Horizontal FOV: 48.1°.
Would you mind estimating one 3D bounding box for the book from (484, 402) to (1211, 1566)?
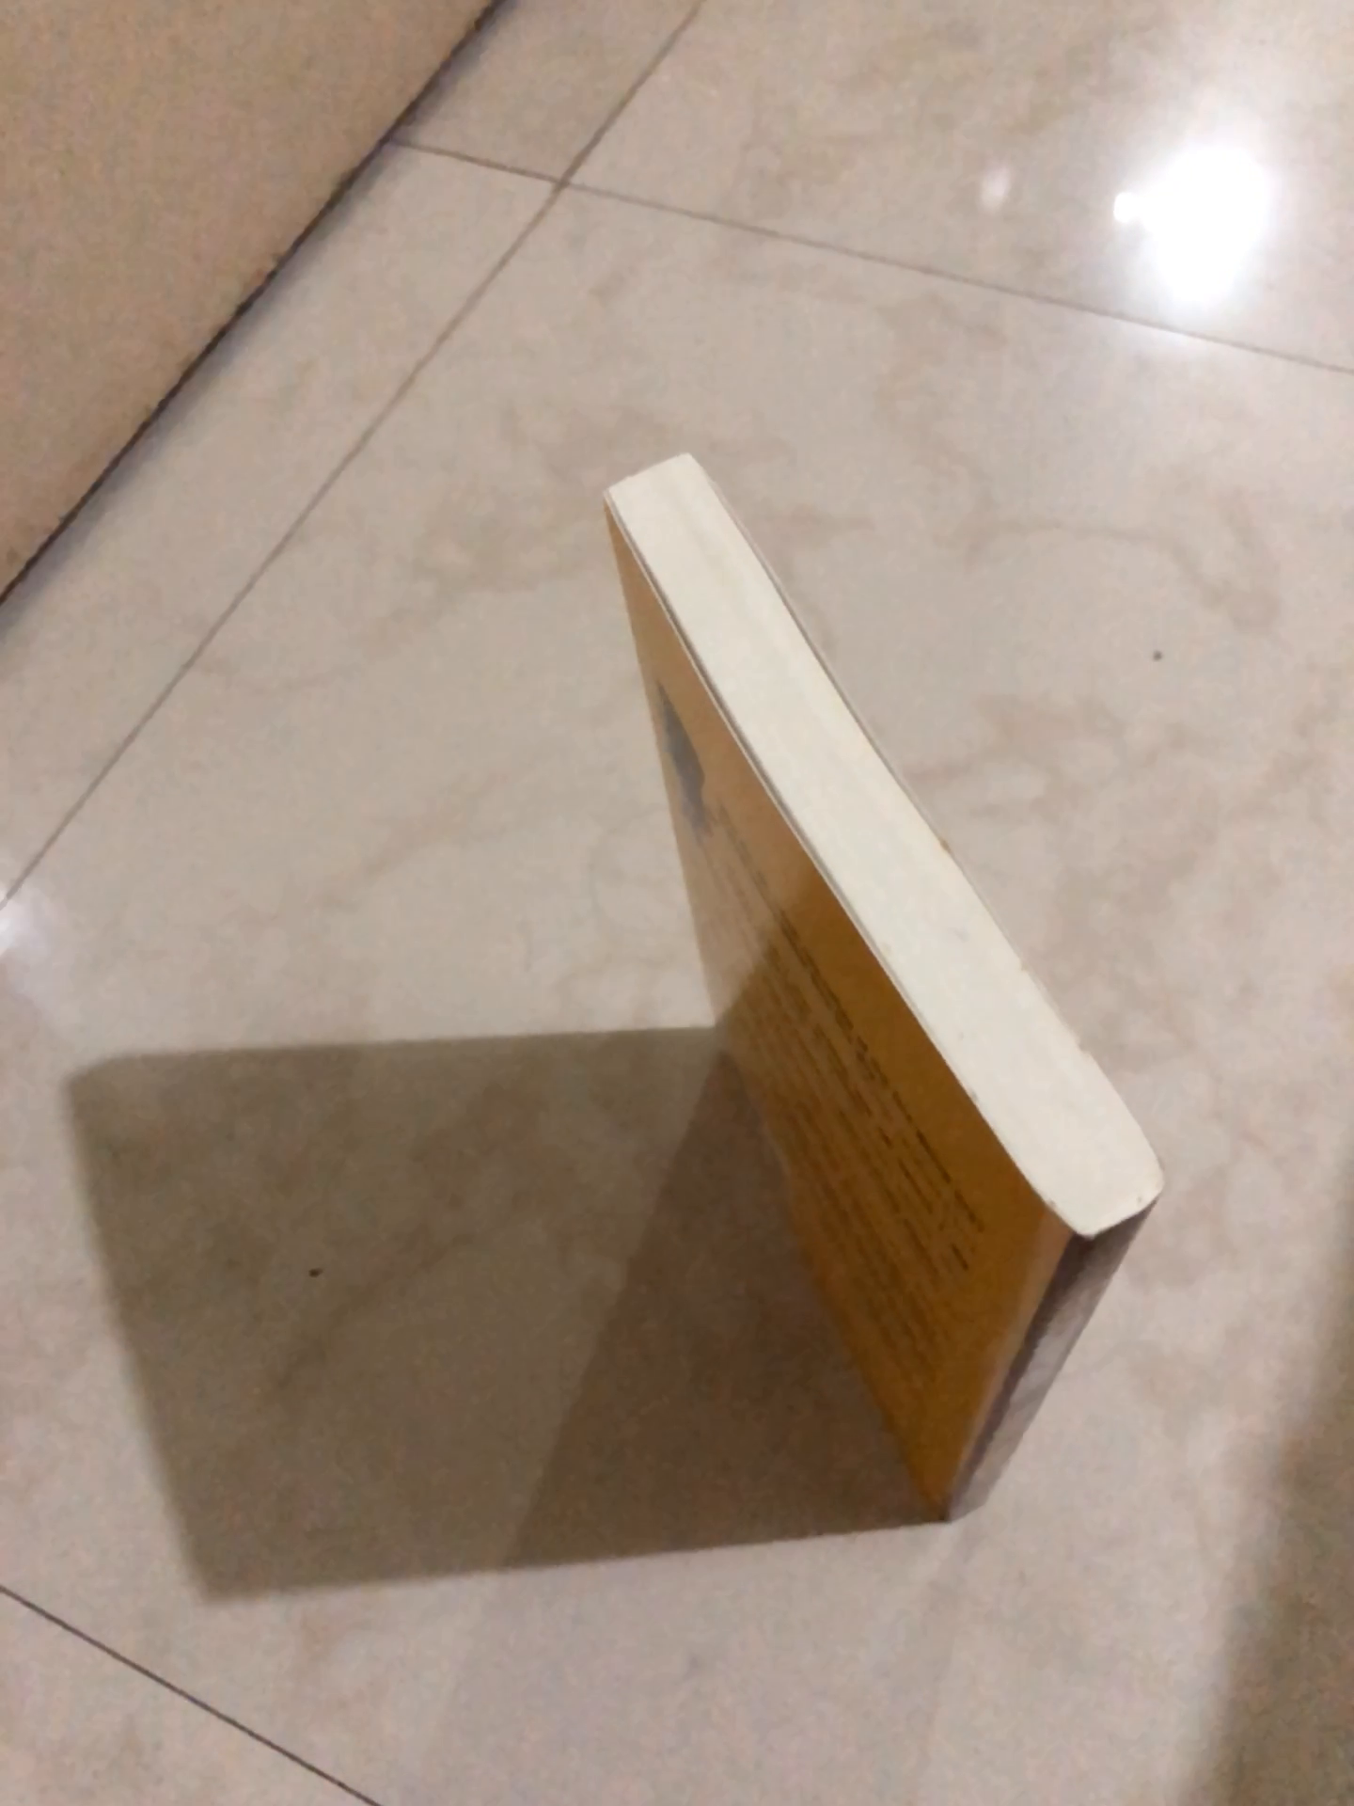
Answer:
[{"bbox_3d":[0.021,0.034,0.270,0.030,0.200,0.130,-24,60,-9],"label":"book"}]
